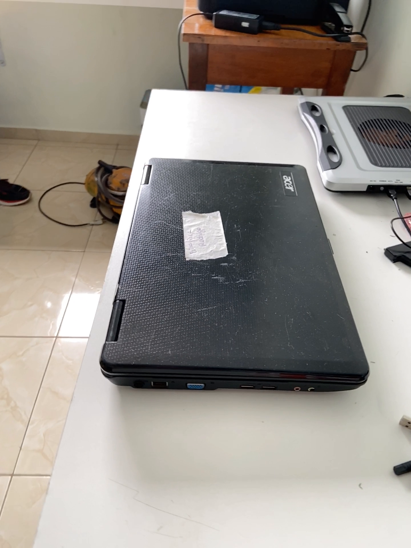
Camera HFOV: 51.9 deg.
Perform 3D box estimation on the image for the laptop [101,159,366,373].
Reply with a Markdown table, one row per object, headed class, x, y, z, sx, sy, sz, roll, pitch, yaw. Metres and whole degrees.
| class | x | y | z | sx | sy | sz | roll | pitch | yaw |
| --- | --- | --- | --- | --- | --- | --- | --- | --- | --- |
| laptop | 0.029 | -0.041 | 0.510 | 0.238 | 0.005 | 0.358 | 3 | 44 | -1 |
